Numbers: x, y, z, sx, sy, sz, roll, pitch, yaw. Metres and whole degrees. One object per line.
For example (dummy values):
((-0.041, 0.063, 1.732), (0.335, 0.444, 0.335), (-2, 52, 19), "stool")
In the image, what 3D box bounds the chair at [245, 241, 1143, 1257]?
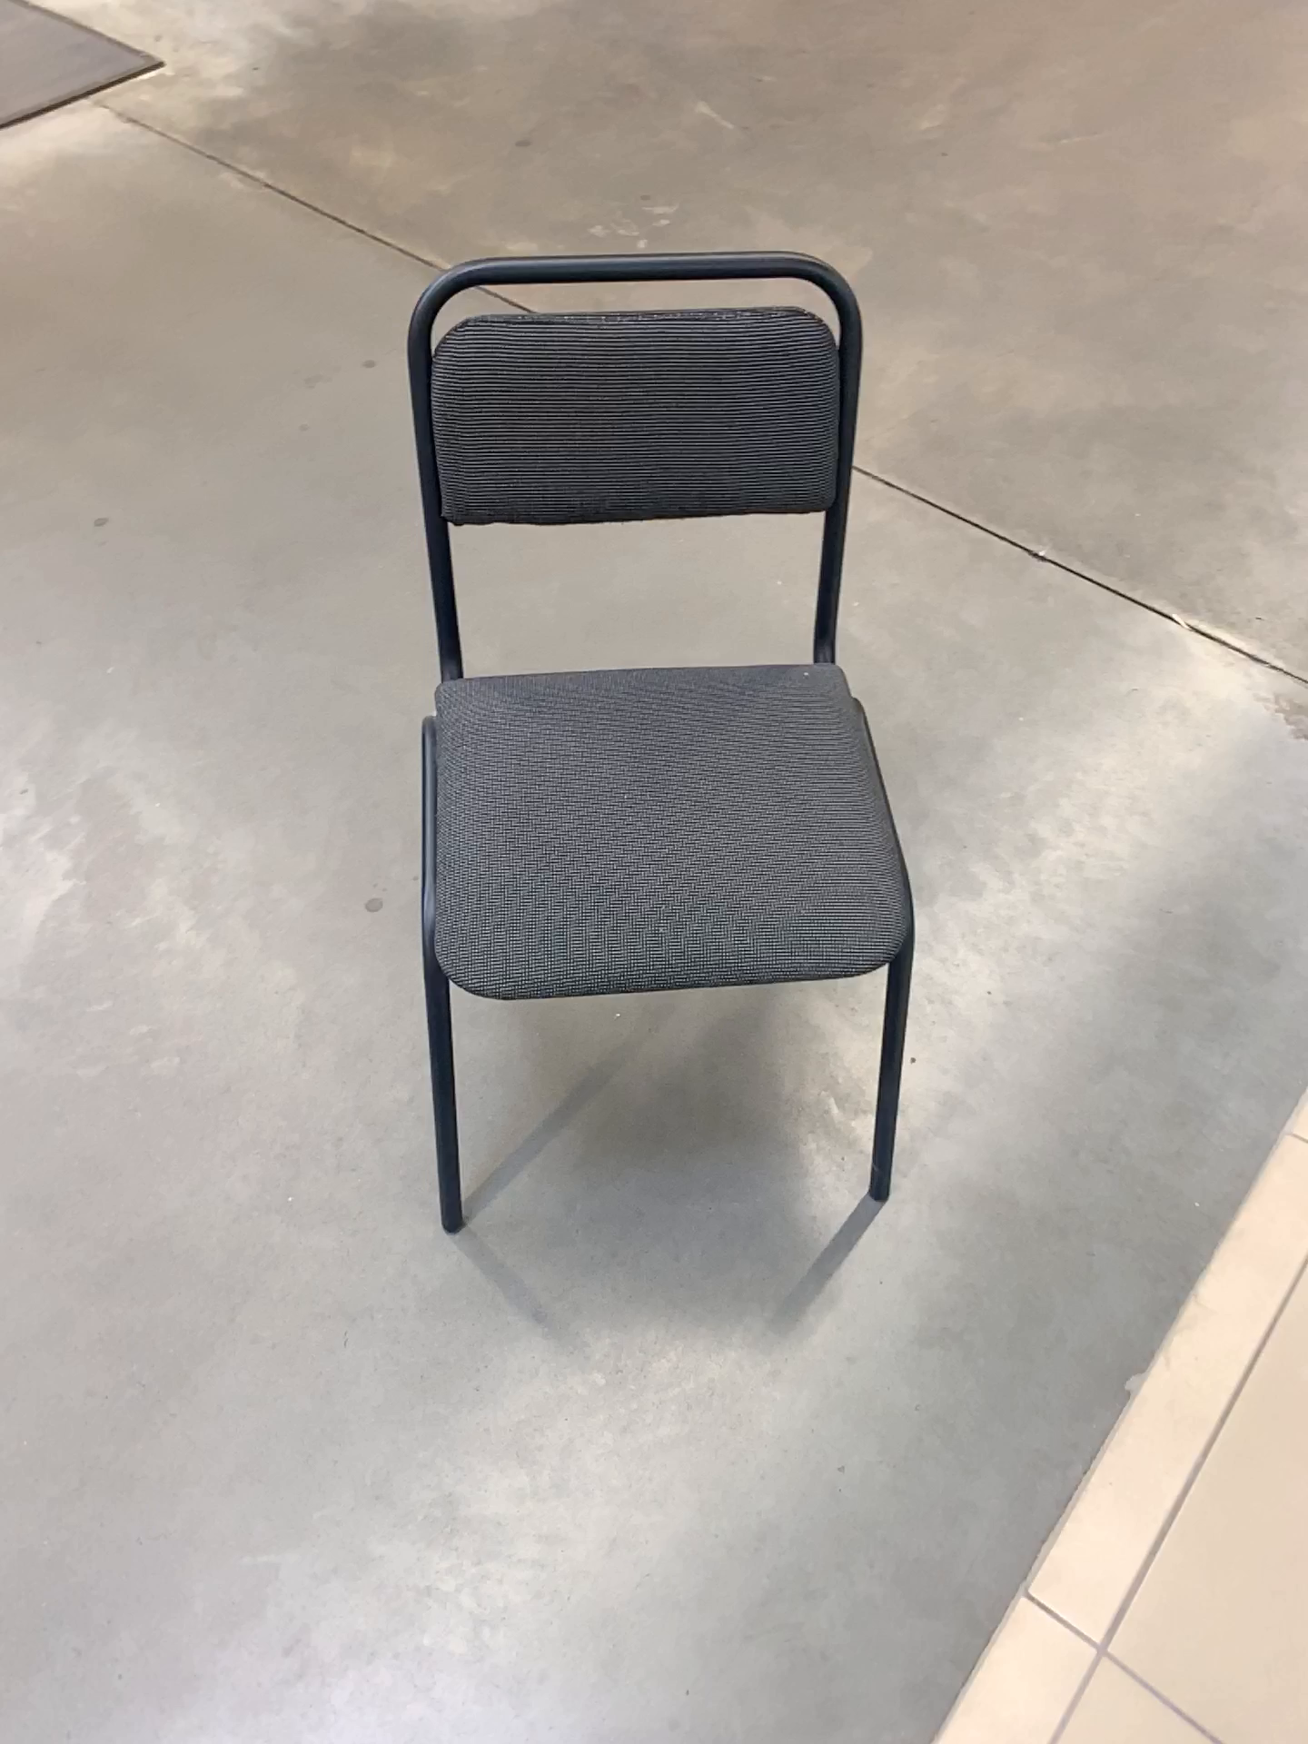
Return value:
((-0.002, -0.089, 1.295), (0.550, 0.737, 0.632), (-3, 52, -4), "chair")
